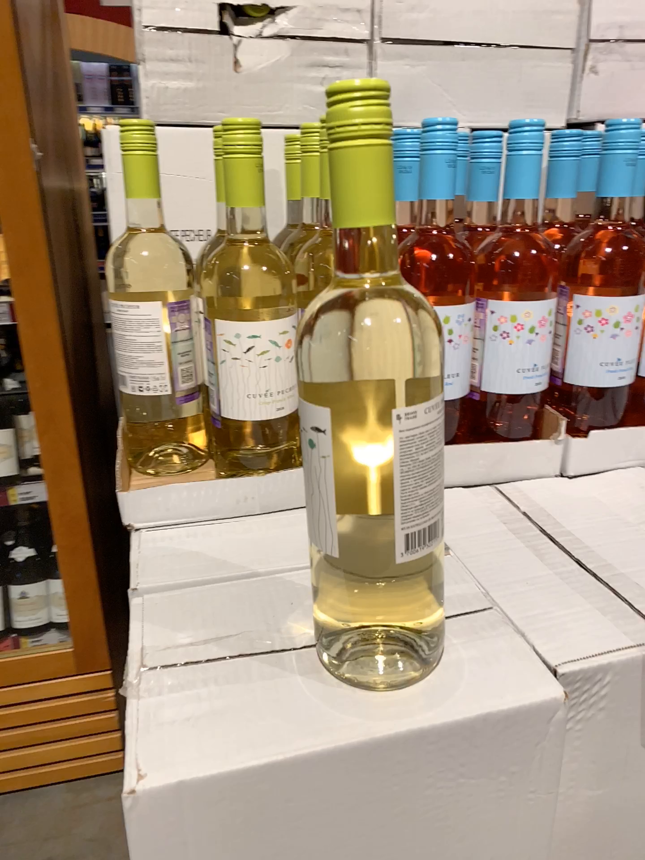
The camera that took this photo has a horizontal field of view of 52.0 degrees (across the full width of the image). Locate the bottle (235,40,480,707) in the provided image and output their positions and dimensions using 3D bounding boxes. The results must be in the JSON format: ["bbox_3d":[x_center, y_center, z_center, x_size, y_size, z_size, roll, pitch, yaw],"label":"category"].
[{"bbox_3d":[0.025,-0.017,0.338,0.090,0.299,0.090,-2,20,1],"label":"bottle"}]
